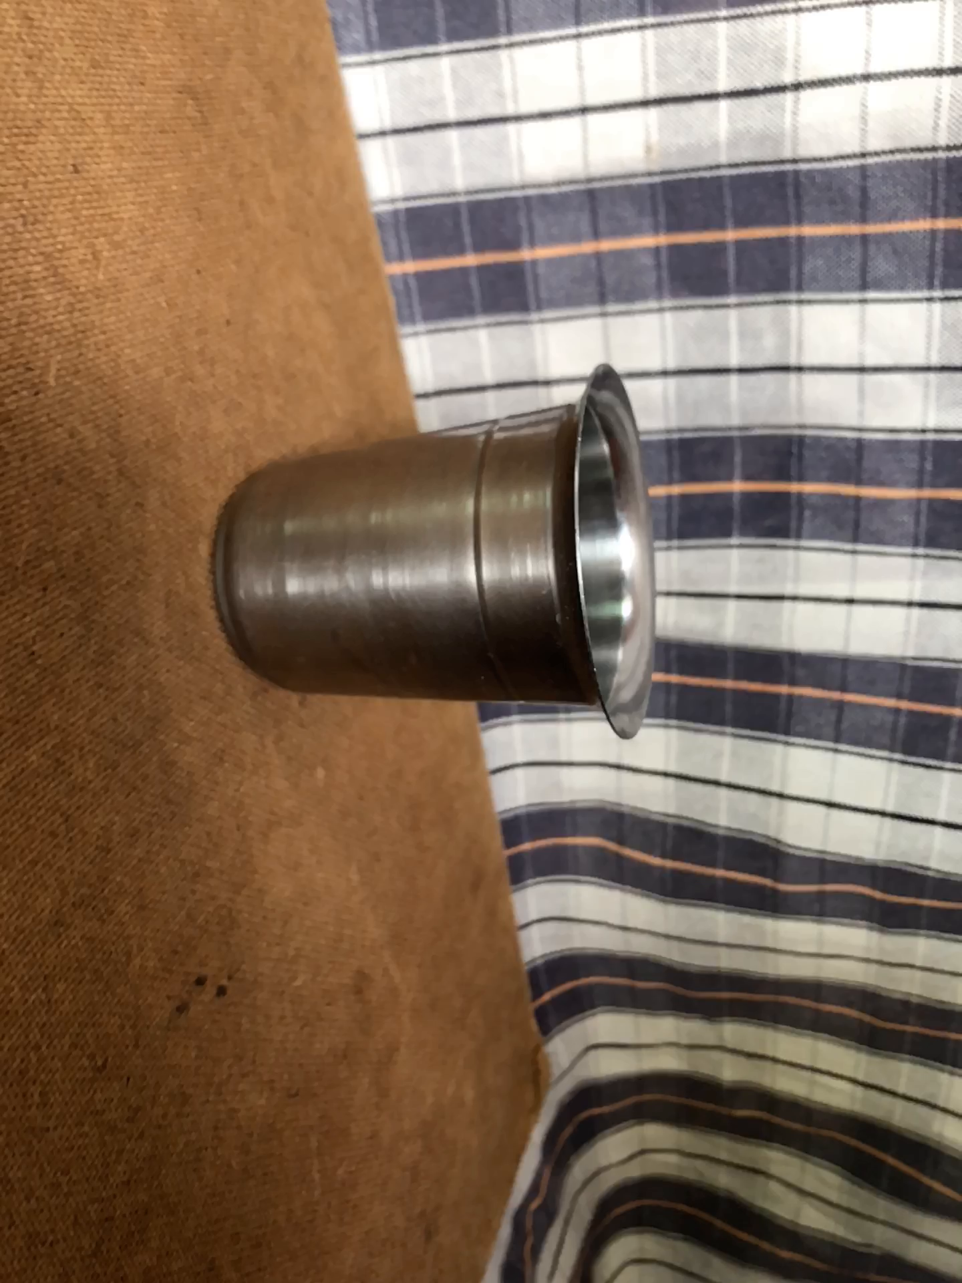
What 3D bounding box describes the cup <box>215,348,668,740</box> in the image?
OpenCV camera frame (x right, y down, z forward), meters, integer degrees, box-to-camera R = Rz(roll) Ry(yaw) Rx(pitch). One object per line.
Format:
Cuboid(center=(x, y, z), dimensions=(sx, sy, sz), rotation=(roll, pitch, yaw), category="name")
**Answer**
Cuboid(center=(-0.005, -0.015, 0.244), dimensions=(0.070, 0.080, 0.070), rotation=(-4, 90, -72), category="cup")
